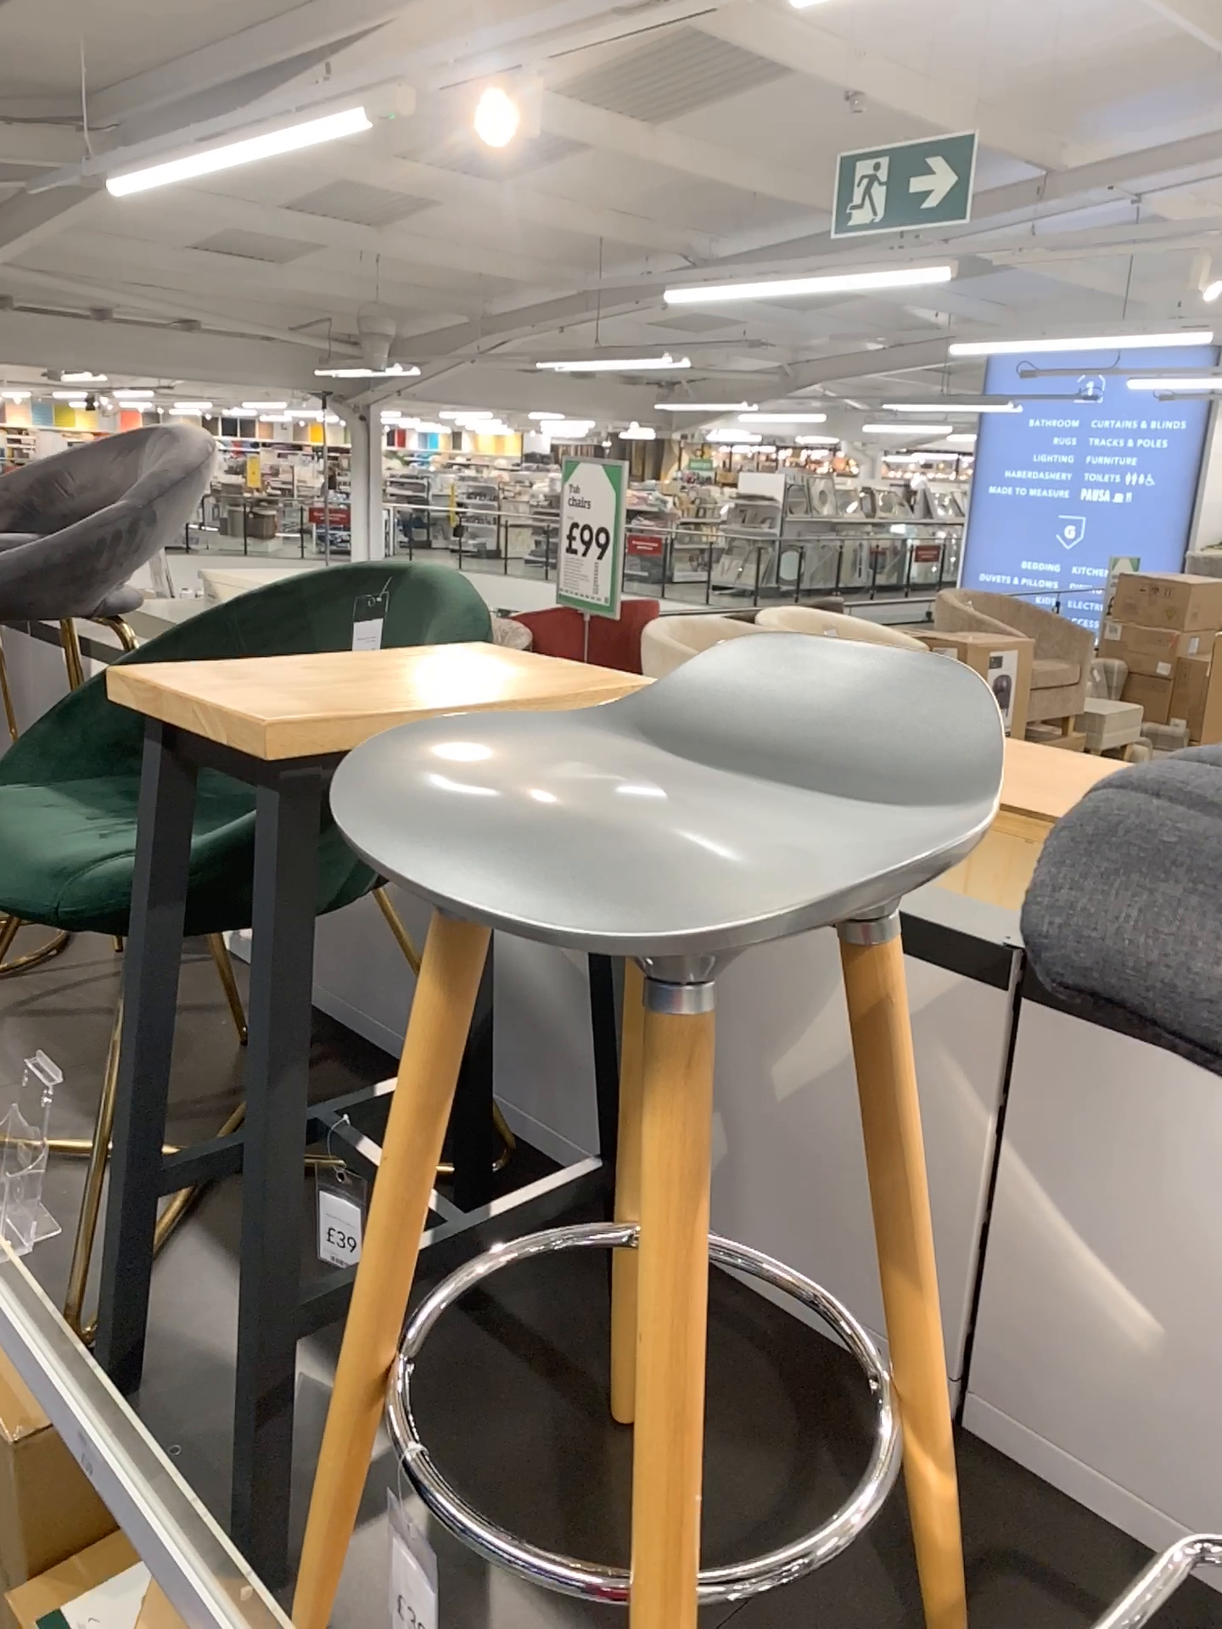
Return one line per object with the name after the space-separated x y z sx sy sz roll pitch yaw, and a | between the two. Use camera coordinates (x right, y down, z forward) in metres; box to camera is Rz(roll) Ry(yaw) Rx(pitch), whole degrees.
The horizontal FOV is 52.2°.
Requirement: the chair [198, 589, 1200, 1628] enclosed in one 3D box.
0.035 0.240 0.882 0.462 0.736 0.444 -10 19 -42 | chair

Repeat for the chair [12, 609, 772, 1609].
-0.206 0.184 1.186 0.502 0.686 0.443 -11 20 -43 | chair
